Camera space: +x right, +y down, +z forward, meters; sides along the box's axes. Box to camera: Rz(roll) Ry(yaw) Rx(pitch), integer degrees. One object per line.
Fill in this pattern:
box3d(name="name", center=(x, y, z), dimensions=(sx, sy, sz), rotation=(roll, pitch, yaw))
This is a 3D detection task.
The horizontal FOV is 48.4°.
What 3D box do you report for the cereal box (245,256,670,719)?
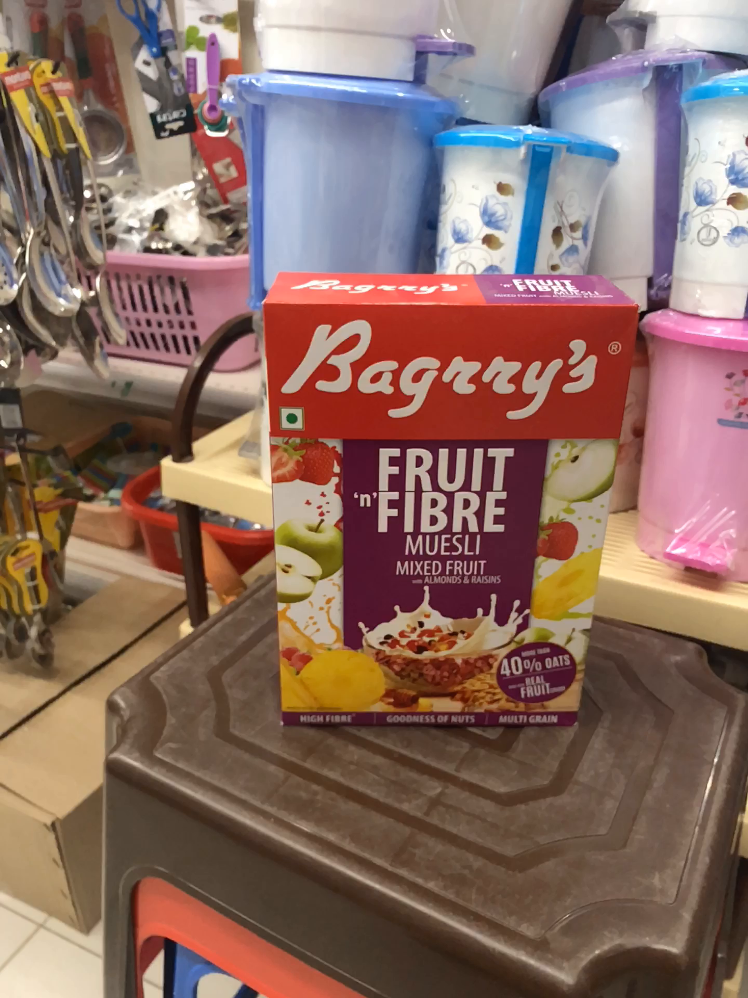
box3d(name="cereal box", center=(0.039, 0.000, 0.479), dimensions=(0.200, 0.259, 0.070), rotation=(0, 25, 0))
